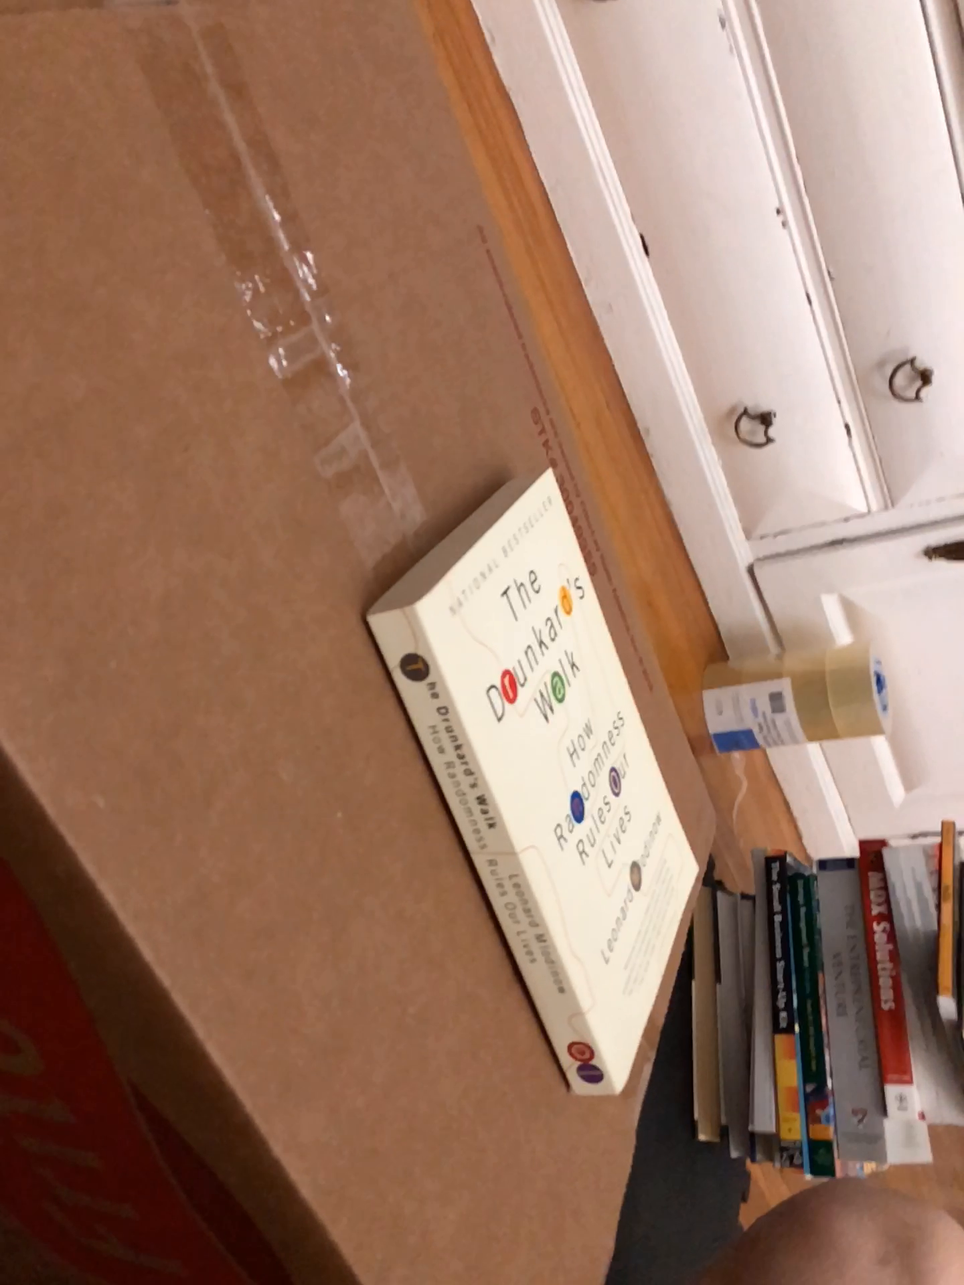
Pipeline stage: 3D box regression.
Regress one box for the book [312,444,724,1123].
[{"bbox_3d":[0.030,0.049,0.405,0.141,0.040,0.210,-51,124,-53],"label":"book"}]
